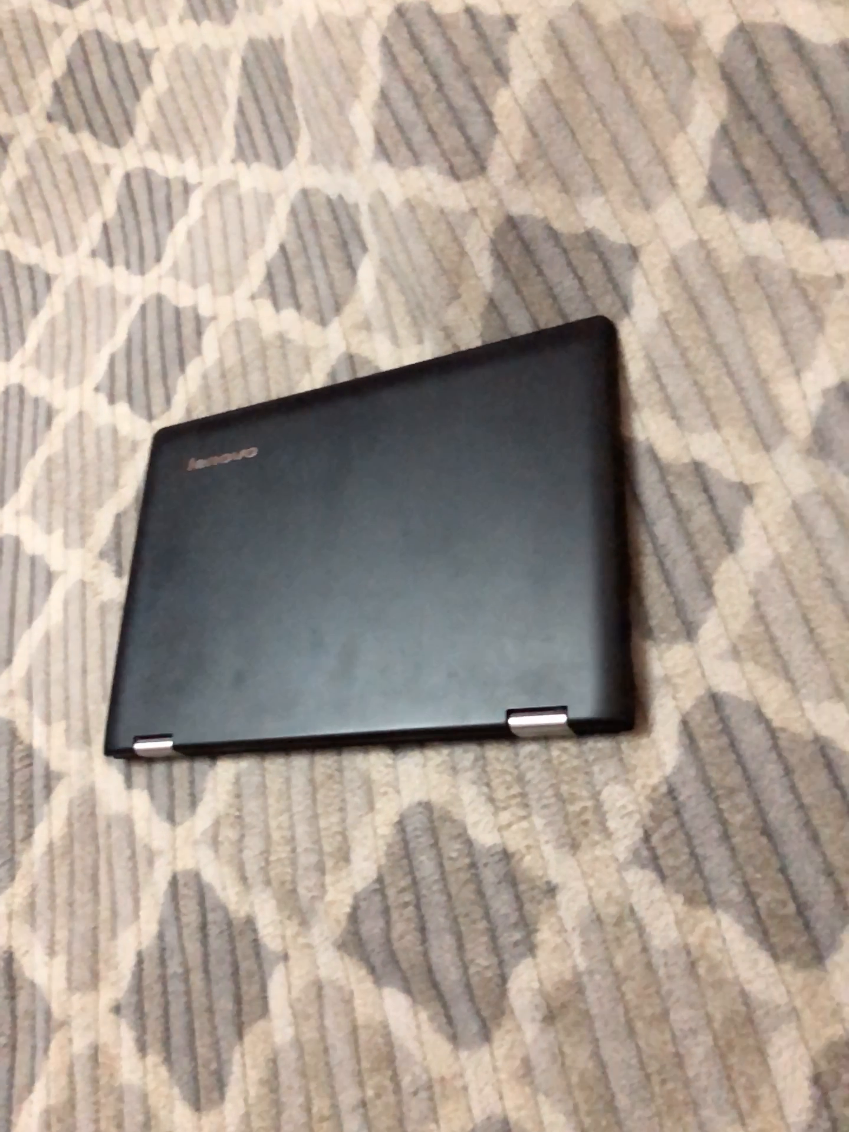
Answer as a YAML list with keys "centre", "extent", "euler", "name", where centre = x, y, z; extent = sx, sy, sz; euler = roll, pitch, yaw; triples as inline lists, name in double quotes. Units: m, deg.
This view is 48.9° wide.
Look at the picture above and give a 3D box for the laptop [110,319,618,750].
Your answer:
- centre: [-0.051, -0.011, 0.582]
  extent: [0.340, 0.005, 0.231]
  euler: [-9, 68, 26]
  name: "laptop"
